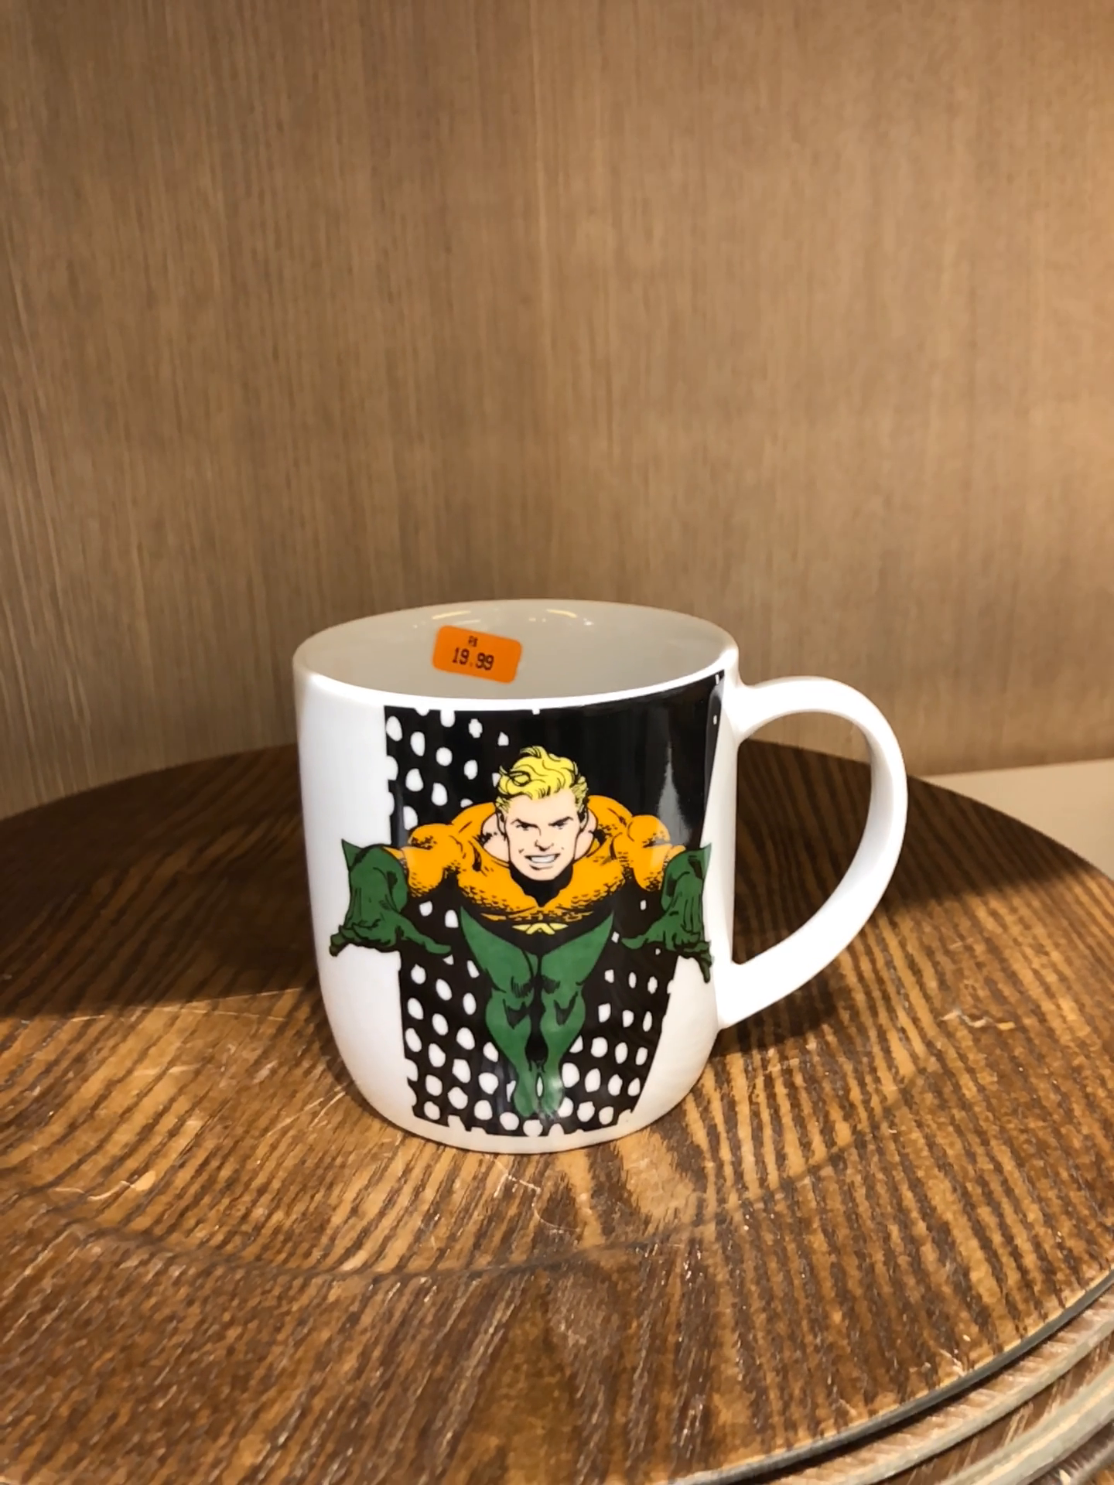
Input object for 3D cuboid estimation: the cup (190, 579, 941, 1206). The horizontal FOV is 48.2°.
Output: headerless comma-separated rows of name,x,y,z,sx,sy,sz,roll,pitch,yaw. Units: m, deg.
cup,0.001,0.022,0.253,0.120,0.090,0.090,-4,16,-4
